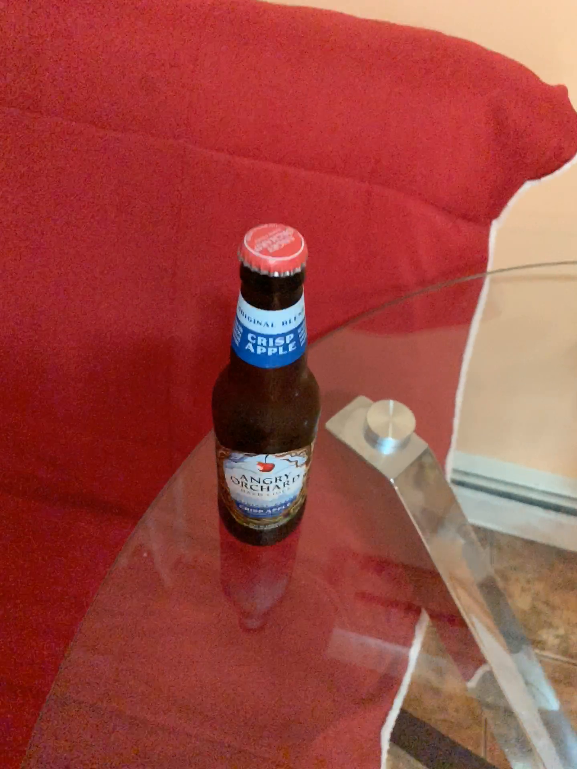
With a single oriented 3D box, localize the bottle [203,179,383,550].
[{"bbox_3d":[-0.010,0.008,0.339,0.070,0.231,0.070,3,49,-3],"label":"bottle"}]
